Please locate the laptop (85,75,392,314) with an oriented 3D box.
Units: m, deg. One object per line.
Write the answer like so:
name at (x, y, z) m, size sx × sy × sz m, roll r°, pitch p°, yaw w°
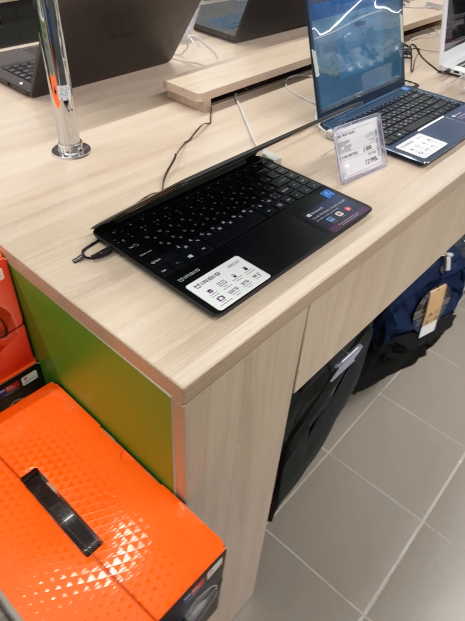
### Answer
laptop at (0.014, -0.164, 0.631) m, size 0.203 × 0.132 × 0.300 m, roll 33°, pitch 49°, yaw 29°
